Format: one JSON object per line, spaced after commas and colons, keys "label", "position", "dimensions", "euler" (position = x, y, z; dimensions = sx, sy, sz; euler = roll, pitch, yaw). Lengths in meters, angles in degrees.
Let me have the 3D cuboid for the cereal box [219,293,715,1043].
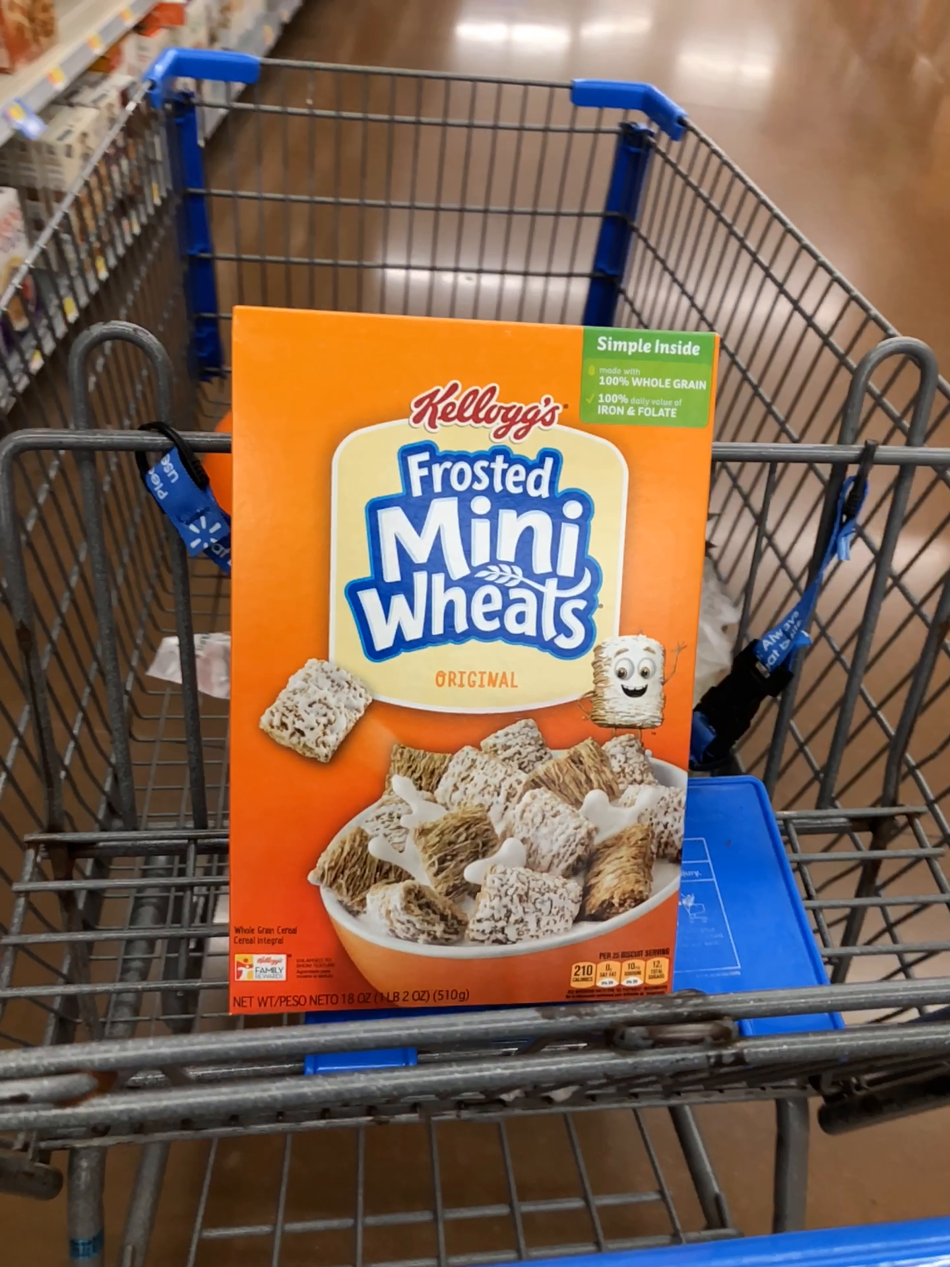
{"label": "cereal box", "position": [-0.010, 0.016, 0.451], "dimensions": [0.190, 0.290, 0.070], "euler": [1, 7, -10]}
